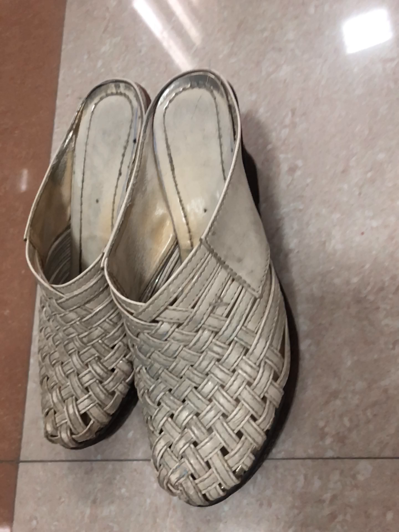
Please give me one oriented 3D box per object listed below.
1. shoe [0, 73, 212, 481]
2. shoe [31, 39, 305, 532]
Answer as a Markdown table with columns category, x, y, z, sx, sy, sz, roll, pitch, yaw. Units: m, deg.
| category | x | y | z | sx | sy | sz | roll | pitch | yaw |
| --- | --- | --- | --- | --- | --- | --- | --- | --- | --- |
| shoe | -0.078 | 0.004 | 0.296 | 0.100 | 0.085 | 0.225 | 5 | 75 | 31 |
| shoe | -0.005 | 0.010 | 0.247 | 0.100 | 0.085 | 0.221 | -6 | 69 | 28 |
